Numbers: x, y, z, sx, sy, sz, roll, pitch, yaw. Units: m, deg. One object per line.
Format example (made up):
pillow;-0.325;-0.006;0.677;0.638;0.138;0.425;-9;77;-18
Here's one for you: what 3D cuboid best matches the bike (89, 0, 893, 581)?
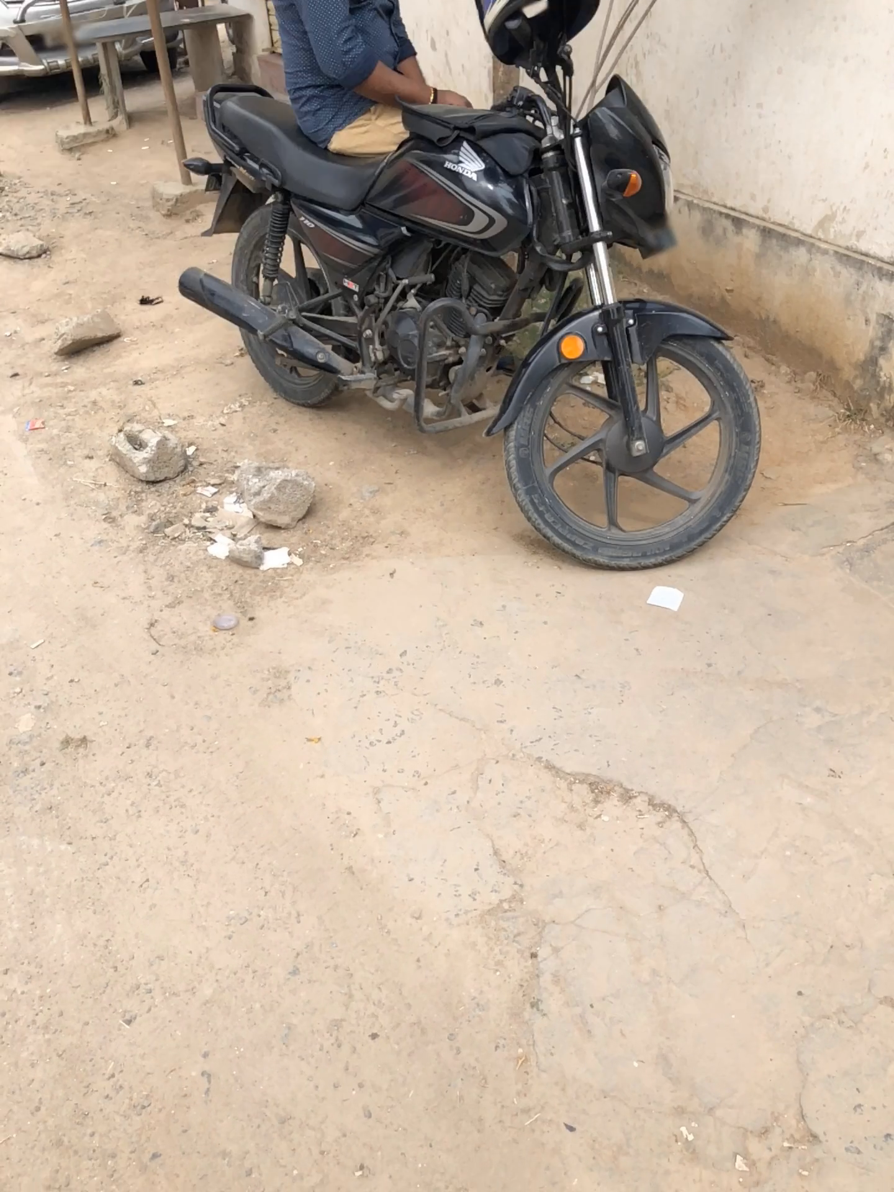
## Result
bike;0.075;-0.915;2.523;1.665;1.069;0.725;23;44;29
